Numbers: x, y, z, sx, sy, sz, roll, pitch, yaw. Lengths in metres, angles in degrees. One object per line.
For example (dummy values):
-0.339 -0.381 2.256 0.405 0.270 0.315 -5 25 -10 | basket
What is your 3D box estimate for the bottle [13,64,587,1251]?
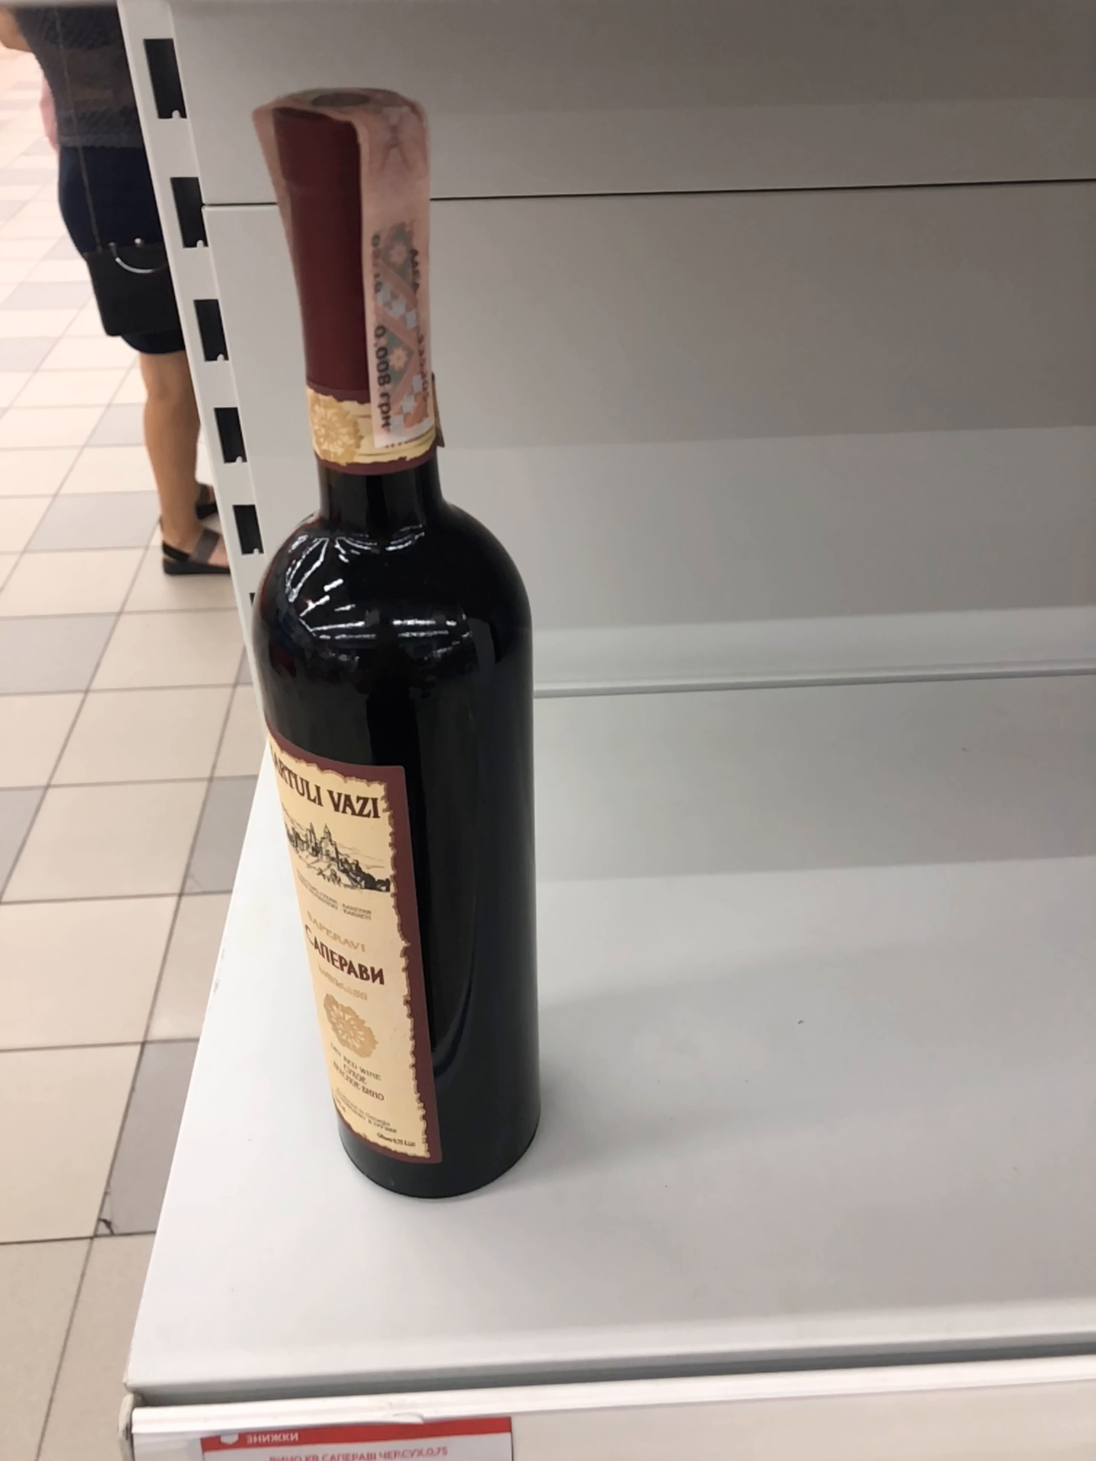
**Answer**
-0.043 0.005 0.312 0.079 0.299 0.069 25 44 30 | bottle
